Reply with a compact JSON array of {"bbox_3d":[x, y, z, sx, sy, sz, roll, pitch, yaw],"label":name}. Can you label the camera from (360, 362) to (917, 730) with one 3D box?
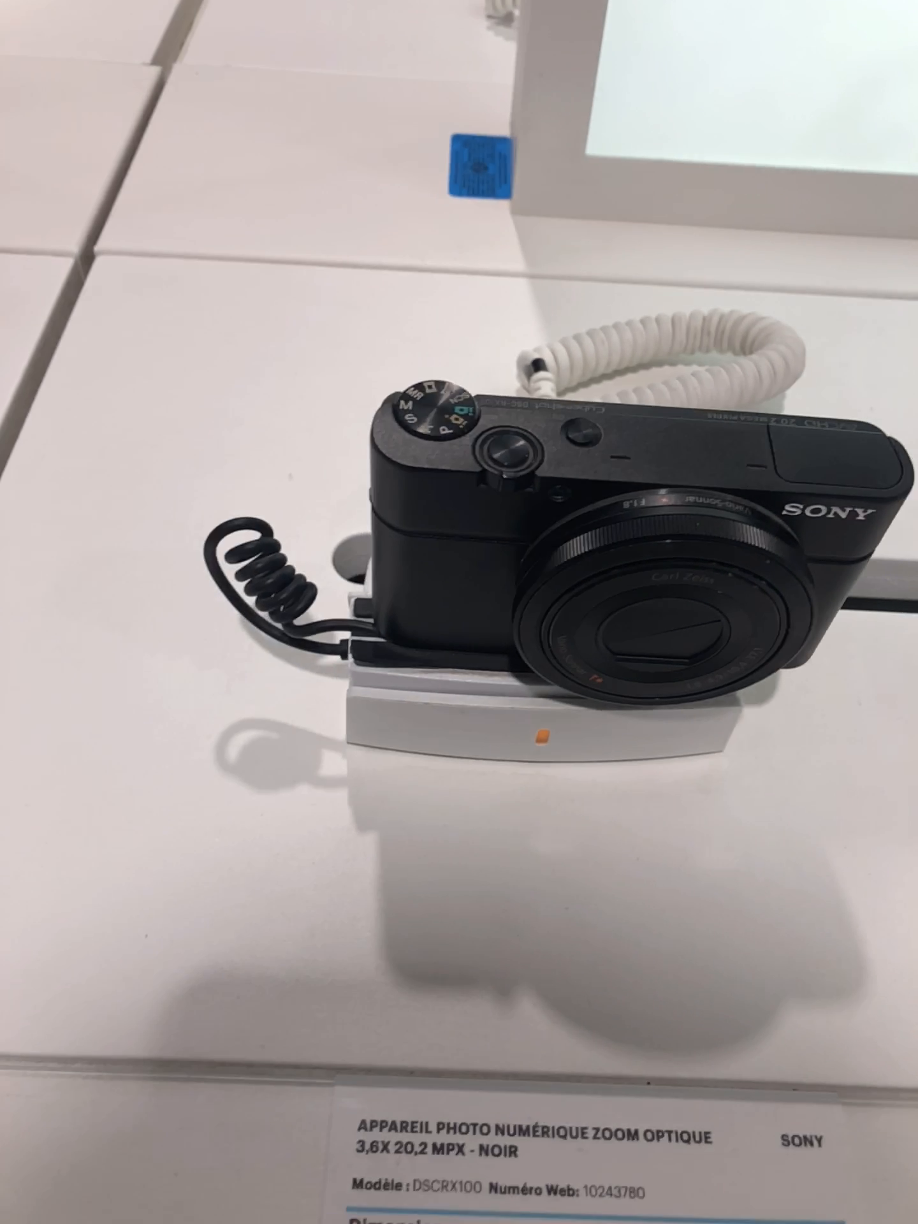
[{"bbox_3d":[0.033,-0.011,0.199,0.100,0.056,0.036,4,50,0],"label":"camera"}]
